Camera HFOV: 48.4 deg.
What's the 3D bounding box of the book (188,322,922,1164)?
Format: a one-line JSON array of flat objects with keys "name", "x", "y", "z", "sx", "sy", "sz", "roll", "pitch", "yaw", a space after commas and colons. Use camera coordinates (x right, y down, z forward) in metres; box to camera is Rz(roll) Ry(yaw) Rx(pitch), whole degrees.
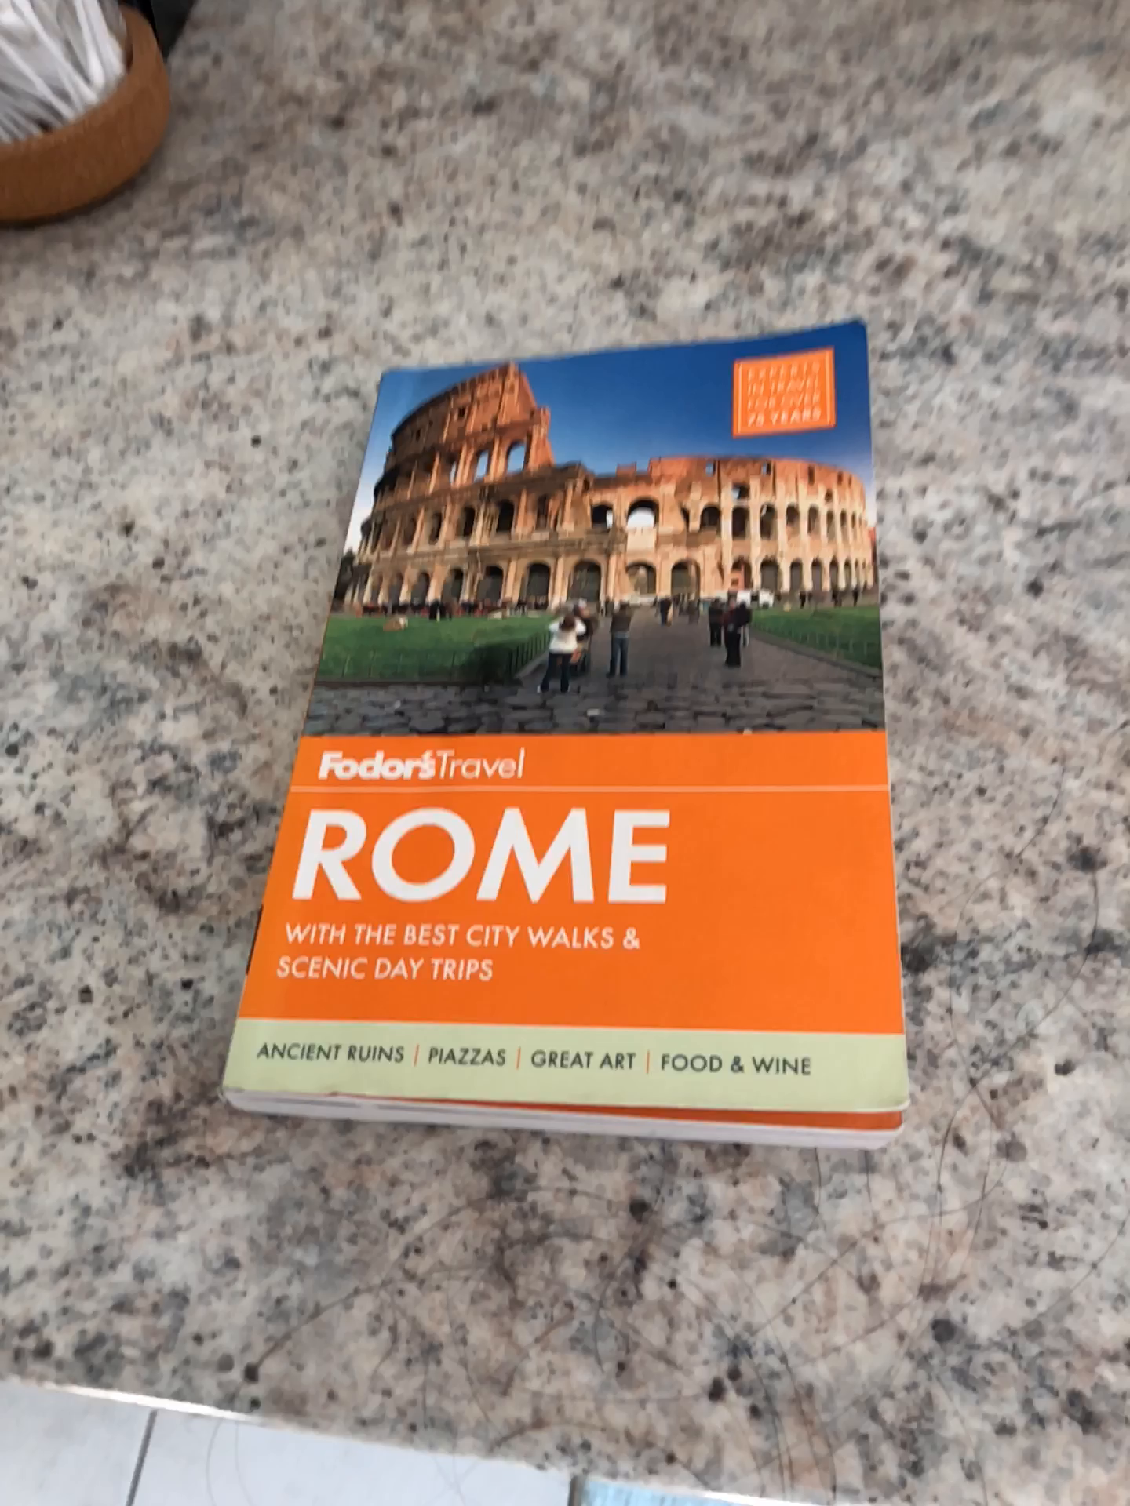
[{"name": "book", "x": 0.005, "y": -0.016, "z": 0.295, "sx": 0.139, "sy": 0.024, "sz": 0.207, "roll": -1, "pitch": 59, "yaw": 11}]
